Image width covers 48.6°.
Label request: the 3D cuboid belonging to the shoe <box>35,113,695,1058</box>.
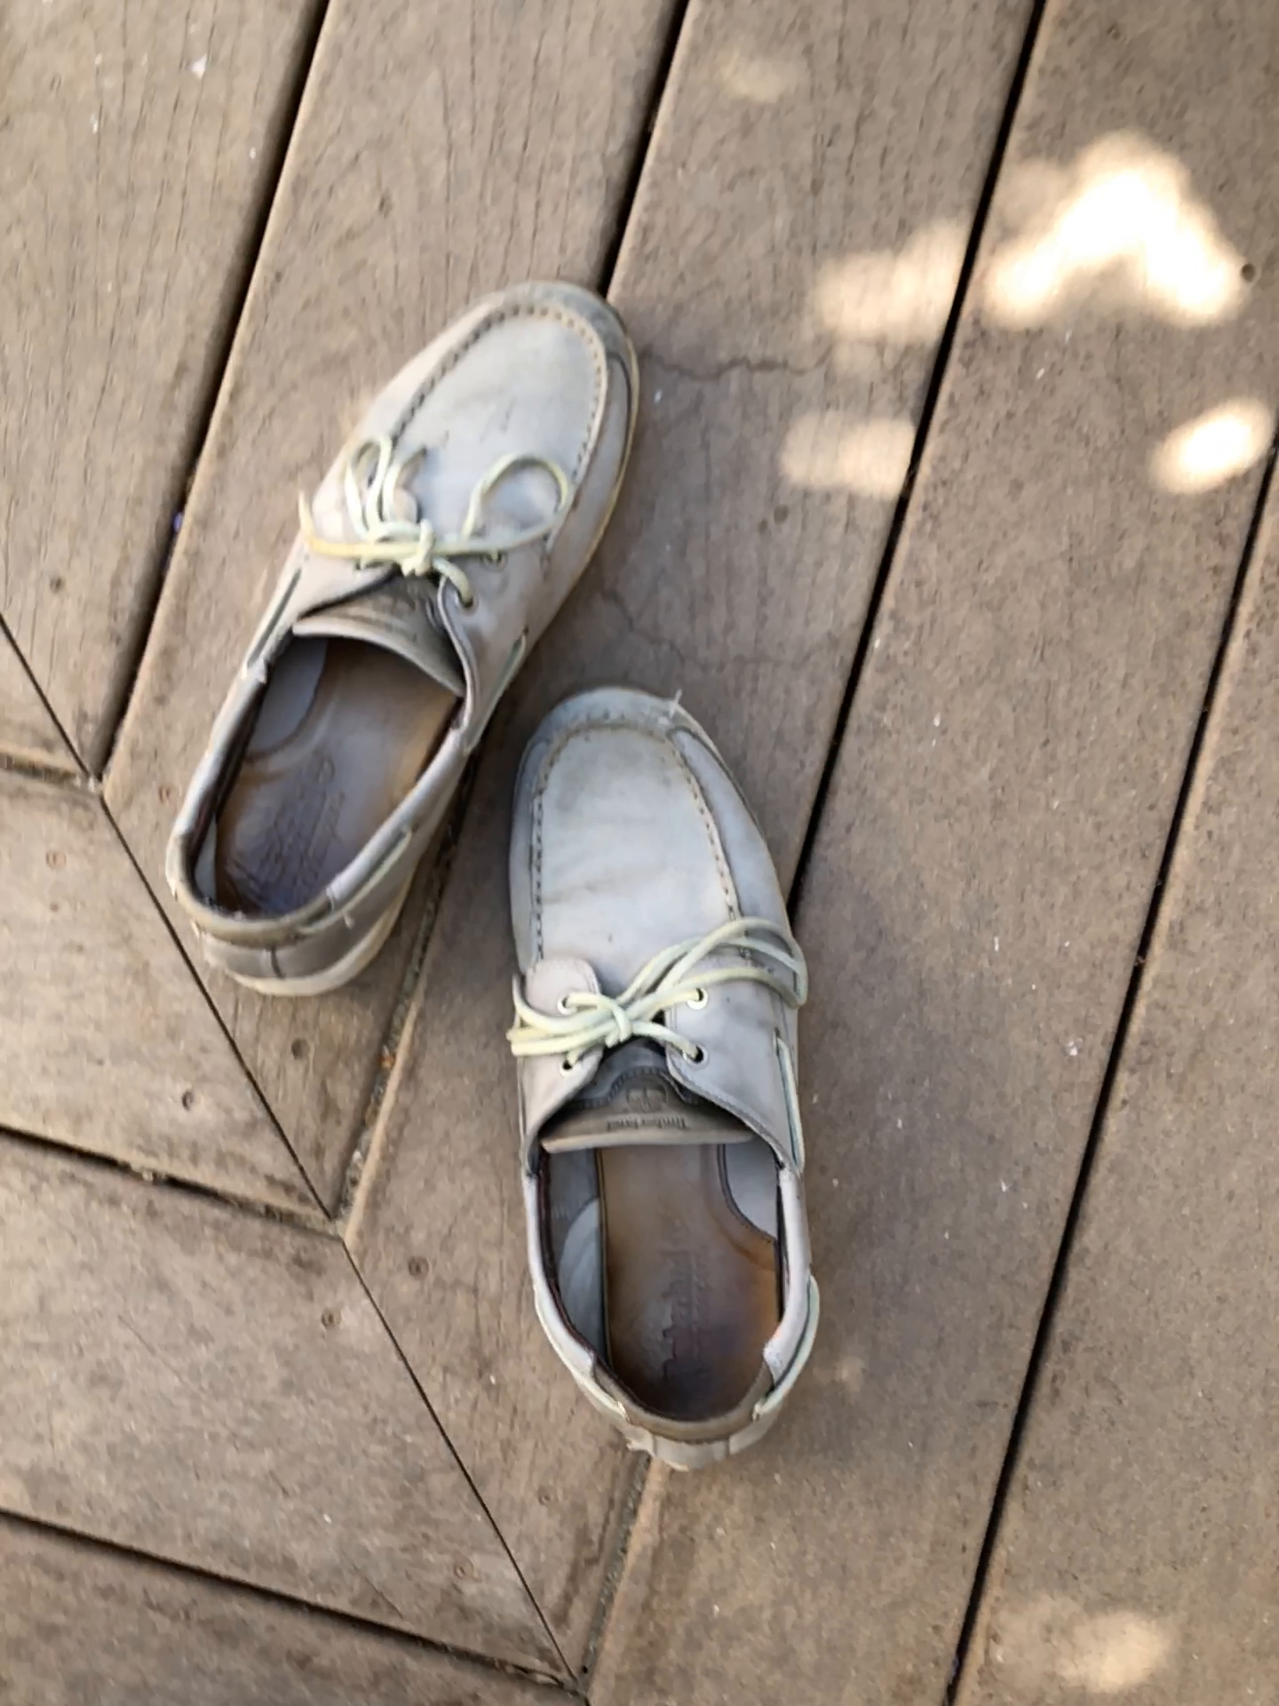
[{"bbox_3d":[-0.094,-0.094,0.544,0.116,0.099,0.314,22,87,1],"label":"shoe"}]

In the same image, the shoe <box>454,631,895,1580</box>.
[{"bbox_3d":[0.010,0.086,0.537,0.120,0.109,0.310,-6,87,-1],"label":"shoe"}]
